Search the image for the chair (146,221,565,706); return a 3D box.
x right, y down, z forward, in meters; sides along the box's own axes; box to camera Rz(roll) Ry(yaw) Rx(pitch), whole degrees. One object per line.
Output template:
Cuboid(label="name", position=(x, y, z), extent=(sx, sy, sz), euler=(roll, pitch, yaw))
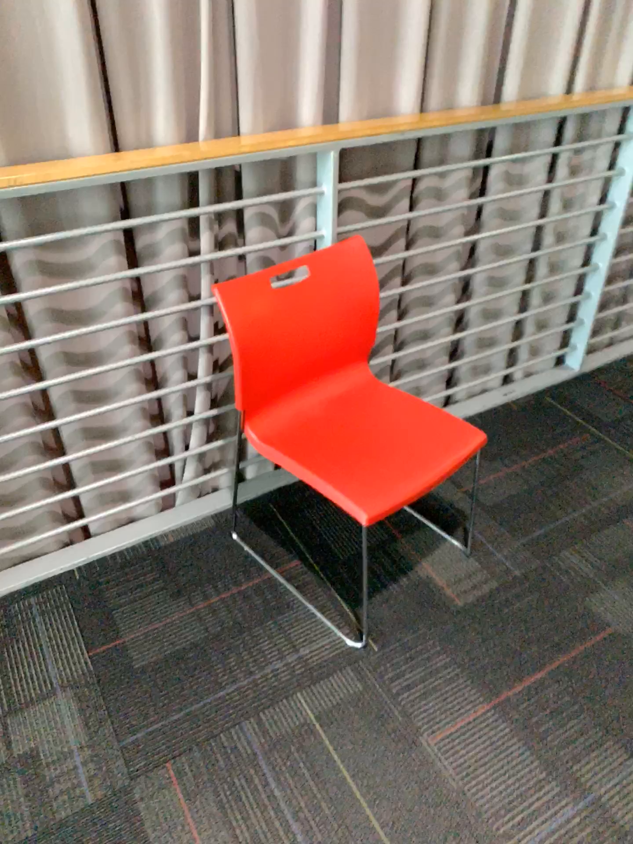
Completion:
Cuboid(label="chair", position=(0.061, 0.073, 1.681), extent=(0.631, 0.855, 0.663), euler=(-28, 48, -33))
